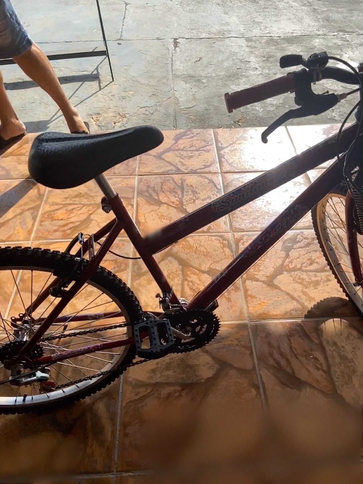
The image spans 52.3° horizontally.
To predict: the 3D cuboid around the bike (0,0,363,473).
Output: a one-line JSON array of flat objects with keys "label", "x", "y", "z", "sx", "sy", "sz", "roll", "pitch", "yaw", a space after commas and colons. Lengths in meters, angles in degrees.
[{"label": "bike", "x": -0.049, "y": 0.084, "z": 0.831, "sx": 1.408, "sy": 1.081, "sz": 0.552, "roll": -1, "pitch": 48, "yaw": 1}]
